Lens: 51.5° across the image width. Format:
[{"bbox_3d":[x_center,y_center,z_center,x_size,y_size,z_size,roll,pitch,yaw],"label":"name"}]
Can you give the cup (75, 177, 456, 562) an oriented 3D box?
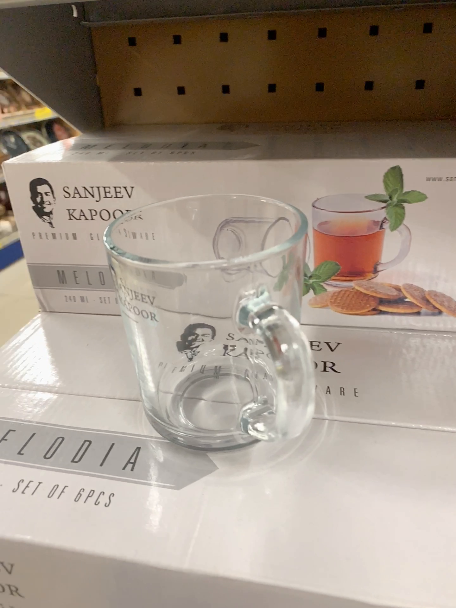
[{"bbox_3d":[0.007,0.009,0.168,0.070,0.080,0.100,-22,34,-34],"label":"cup"}]
